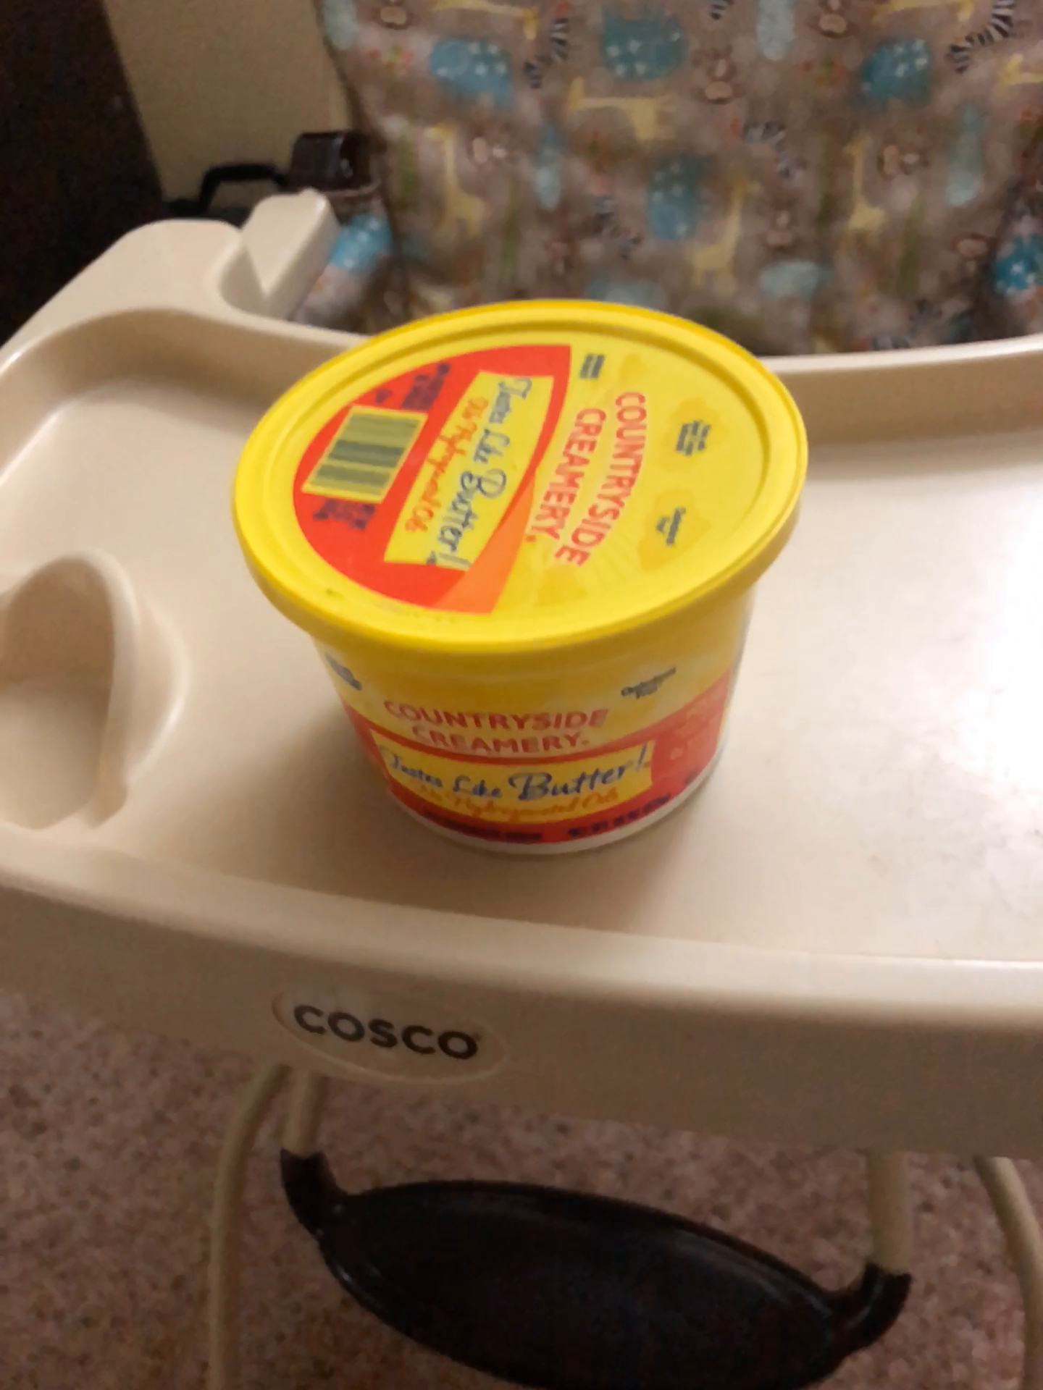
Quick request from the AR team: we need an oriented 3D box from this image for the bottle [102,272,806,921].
[{"bbox_3d":[-0.004,-0.028,0.277,0.120,0.090,0.110,-4,47,4],"label":"bottle"}]
